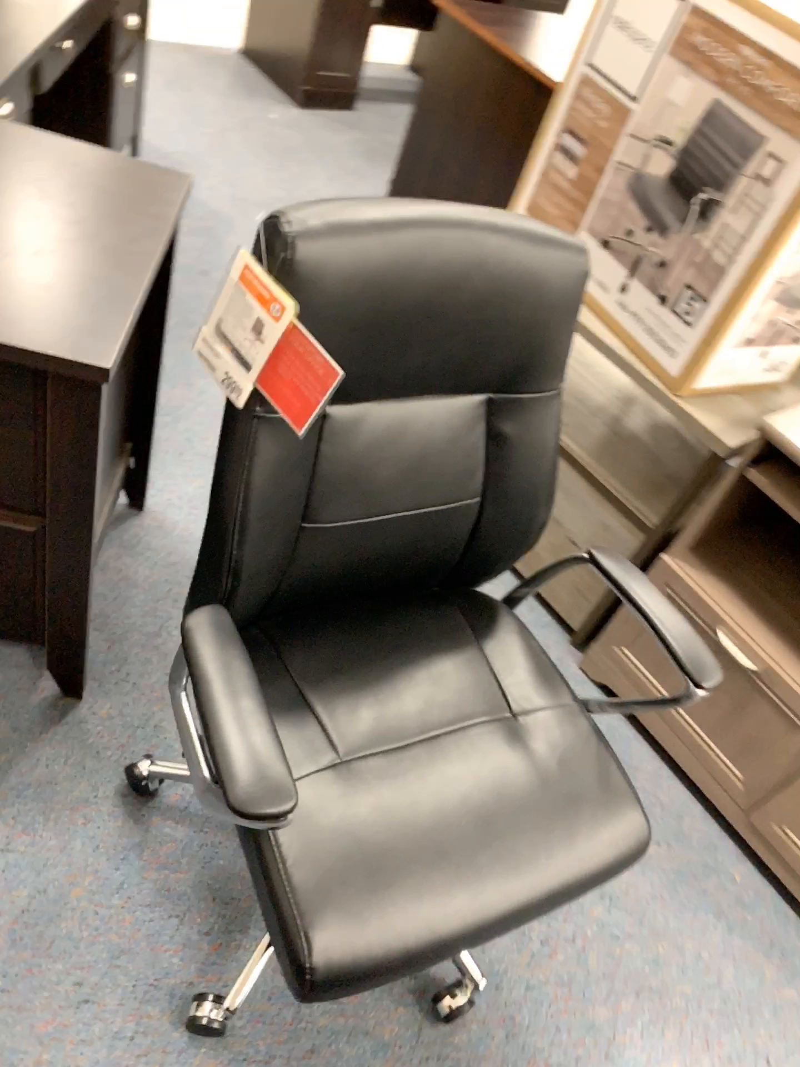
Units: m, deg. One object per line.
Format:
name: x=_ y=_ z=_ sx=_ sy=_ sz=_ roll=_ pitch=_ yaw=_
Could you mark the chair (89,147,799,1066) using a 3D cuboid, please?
chair: x=0.034 y=0.193 z=1.077 sx=0.665 sy=0.996 sz=0.719 roll=-9 pitch=52 yaw=-29
